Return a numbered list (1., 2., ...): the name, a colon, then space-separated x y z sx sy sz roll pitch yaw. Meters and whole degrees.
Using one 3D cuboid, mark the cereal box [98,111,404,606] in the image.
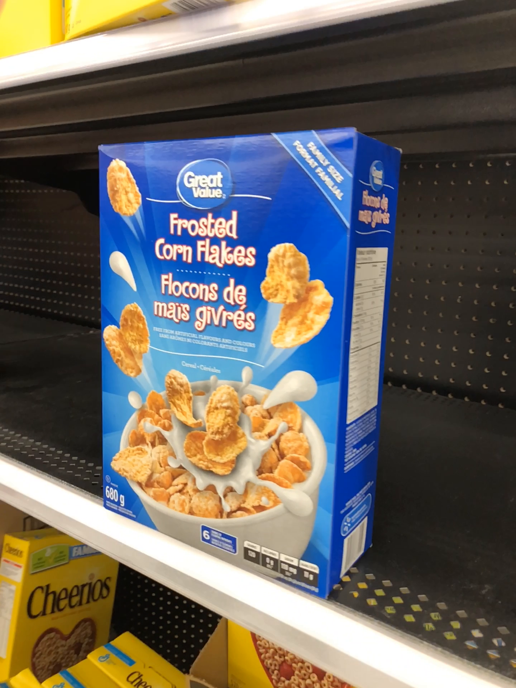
1. cereal box: -0.017 0.000 0.437 0.210 0.309 0.080 9 12 31
